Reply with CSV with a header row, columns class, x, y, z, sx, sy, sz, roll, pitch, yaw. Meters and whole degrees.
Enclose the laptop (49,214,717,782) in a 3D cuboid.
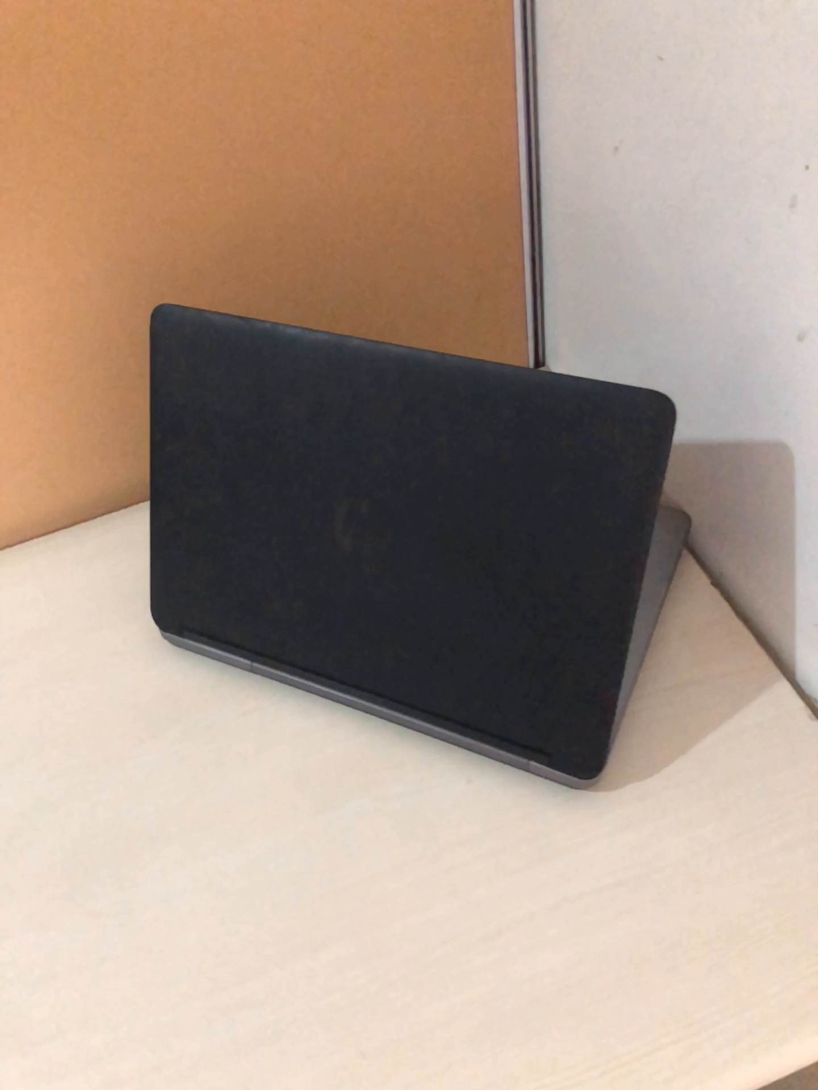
class,x,y,z,sx,sy,sz,roll,pitch,yaw
laptop,0.000,-0.048,0.579,0.319,0.192,0.228,15,52,22
